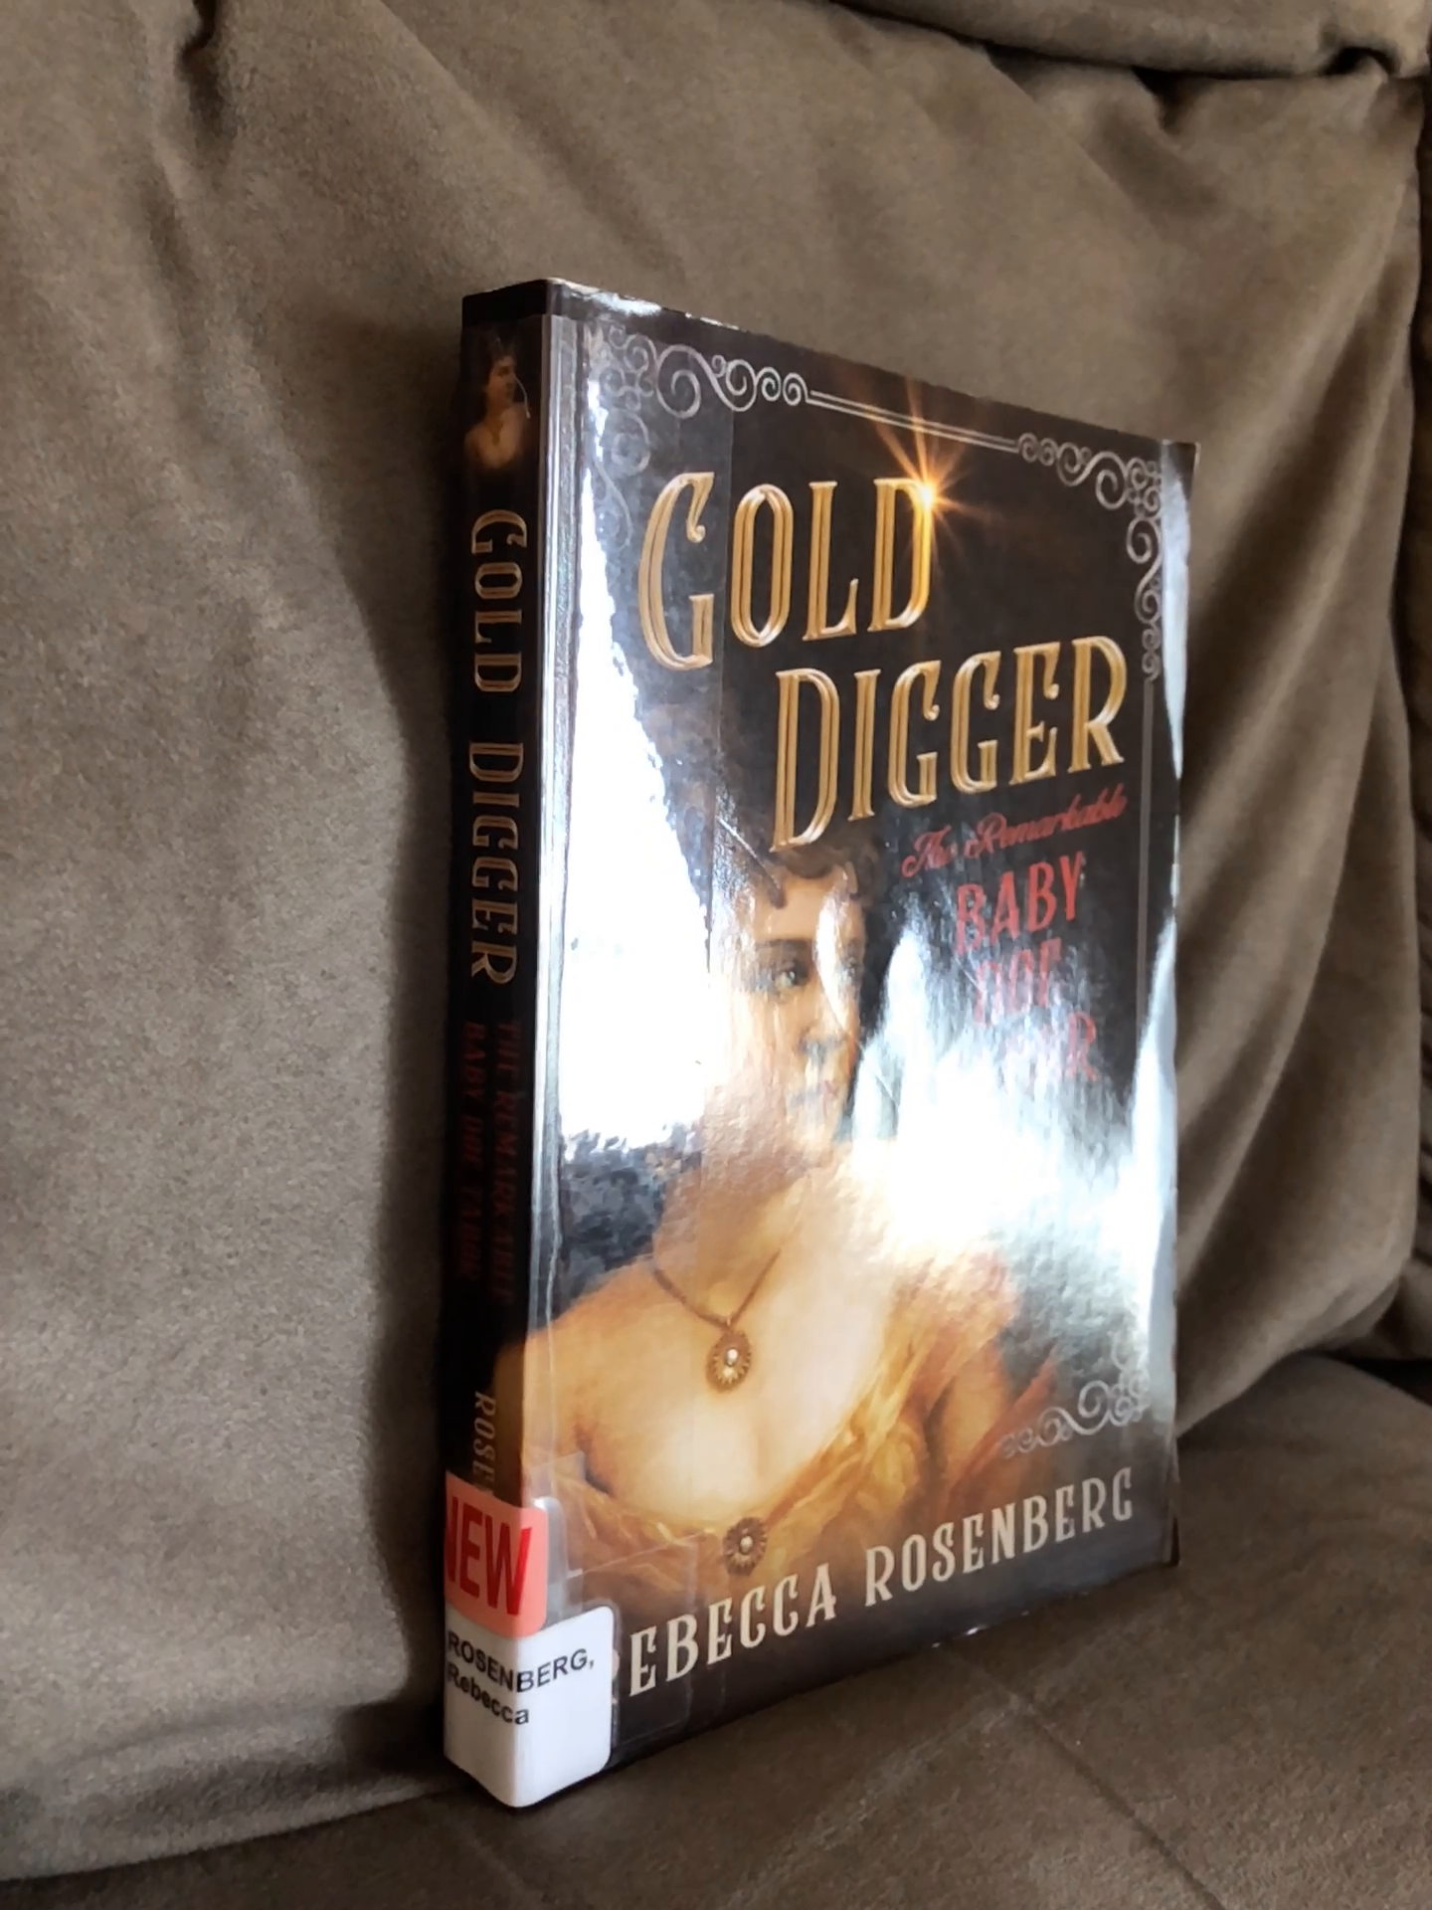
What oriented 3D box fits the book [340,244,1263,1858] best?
[{"bbox_3d":[0.023,0.010,0.251,0.150,0.200,0.030,-4,4,-33],"label":"book"}]
